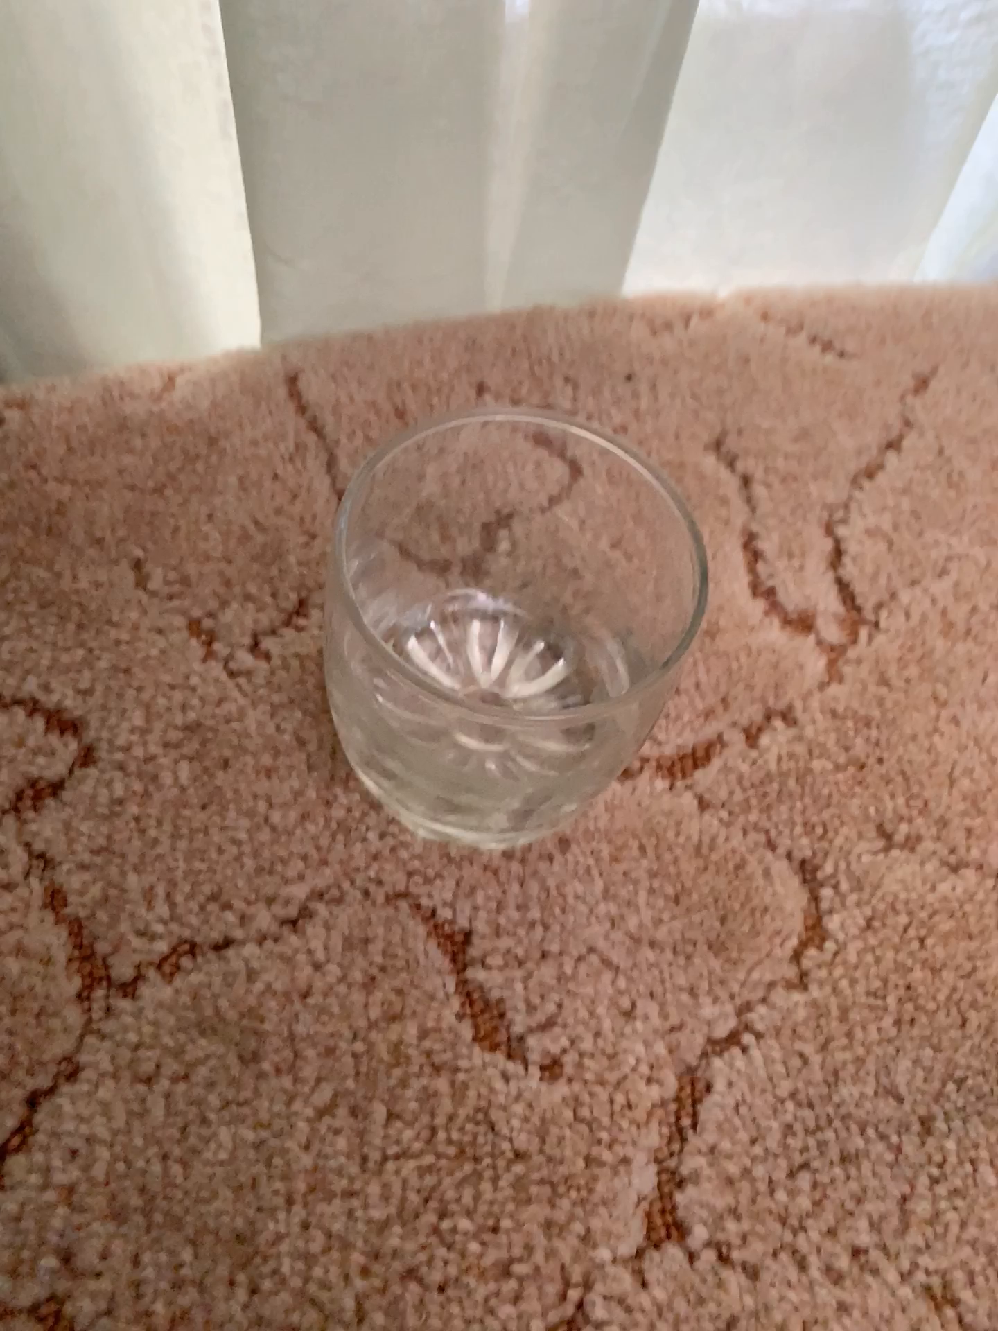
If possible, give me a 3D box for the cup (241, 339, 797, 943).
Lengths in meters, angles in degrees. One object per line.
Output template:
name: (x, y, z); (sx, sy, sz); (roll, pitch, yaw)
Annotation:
cup: (-0.001, -0.003, 0.250); (0.080, 0.089, 0.090); (-24, 65, -16)
